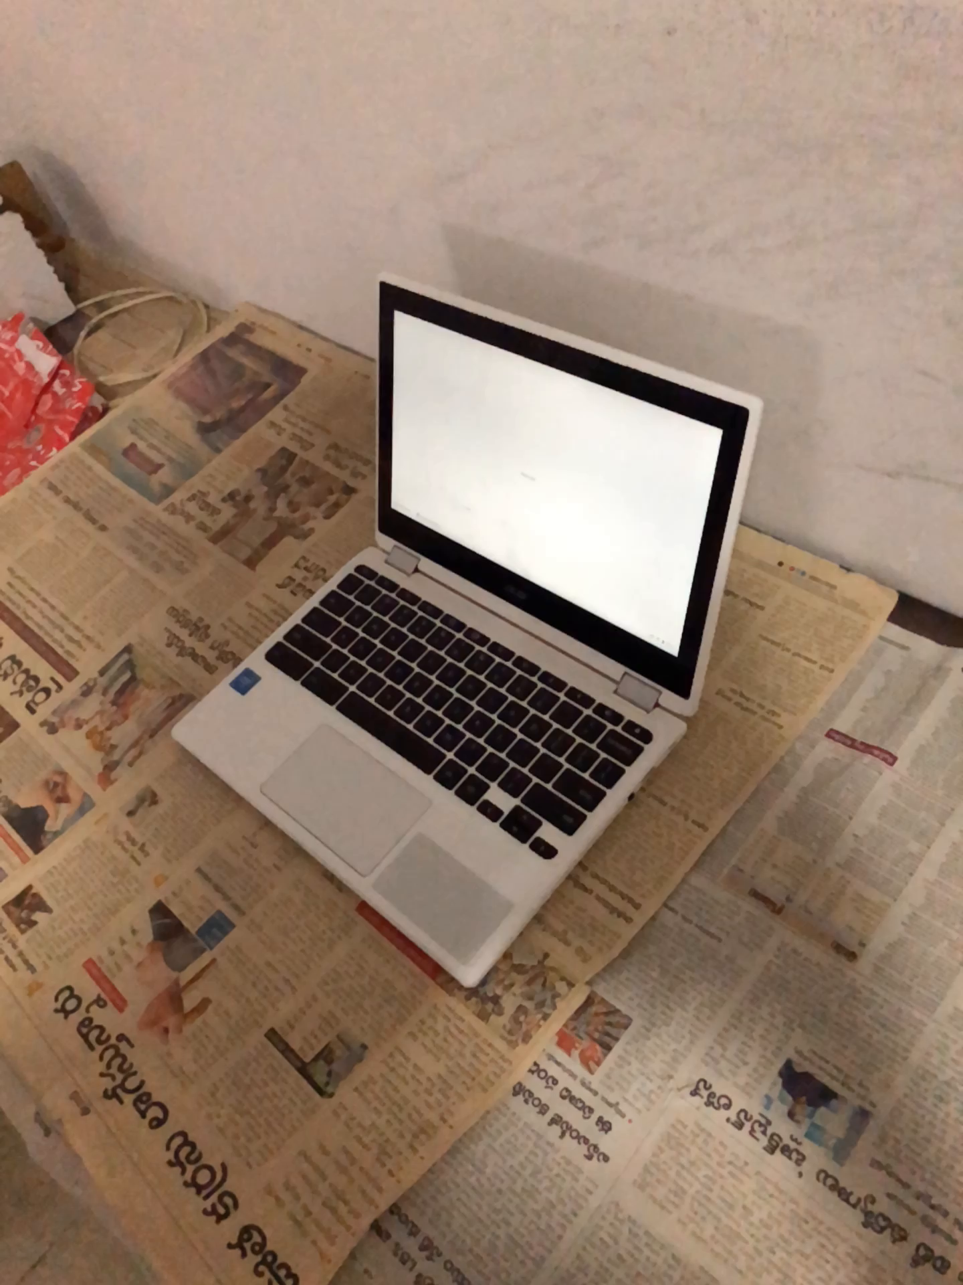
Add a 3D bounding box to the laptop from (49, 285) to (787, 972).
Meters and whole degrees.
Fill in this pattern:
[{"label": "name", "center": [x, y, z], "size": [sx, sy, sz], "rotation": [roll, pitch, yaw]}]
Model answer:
[{"label": "laptop", "center": [-0.022, -0.027, 0.605], "size": [0.269, 0.168, 0.278], "rotation": [30, 65, 34]}]
